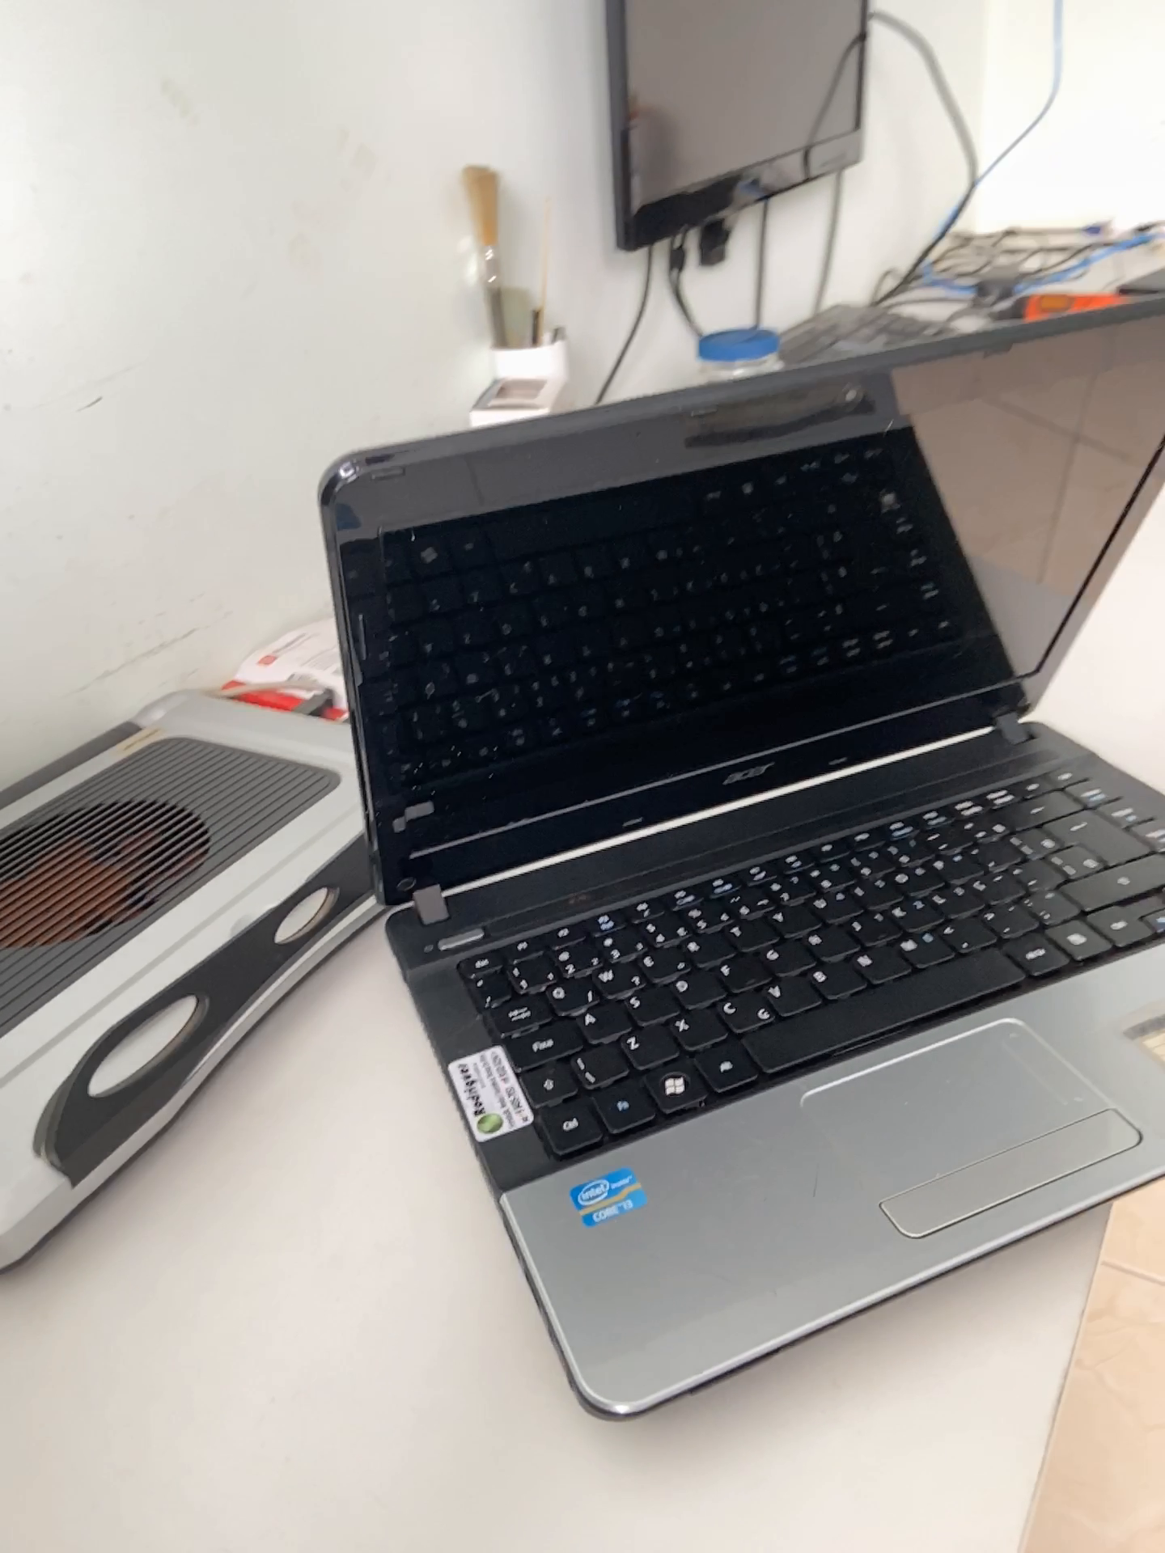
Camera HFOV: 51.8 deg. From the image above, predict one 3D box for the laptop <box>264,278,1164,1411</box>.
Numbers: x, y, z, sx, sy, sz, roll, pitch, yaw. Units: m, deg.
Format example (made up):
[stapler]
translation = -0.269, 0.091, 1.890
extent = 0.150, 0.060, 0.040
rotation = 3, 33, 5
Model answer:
[laptop]
translation = 0.099, -0.021, 0.401
extent = 0.327, 0.211, 0.239
rotation = -16, 31, -16
